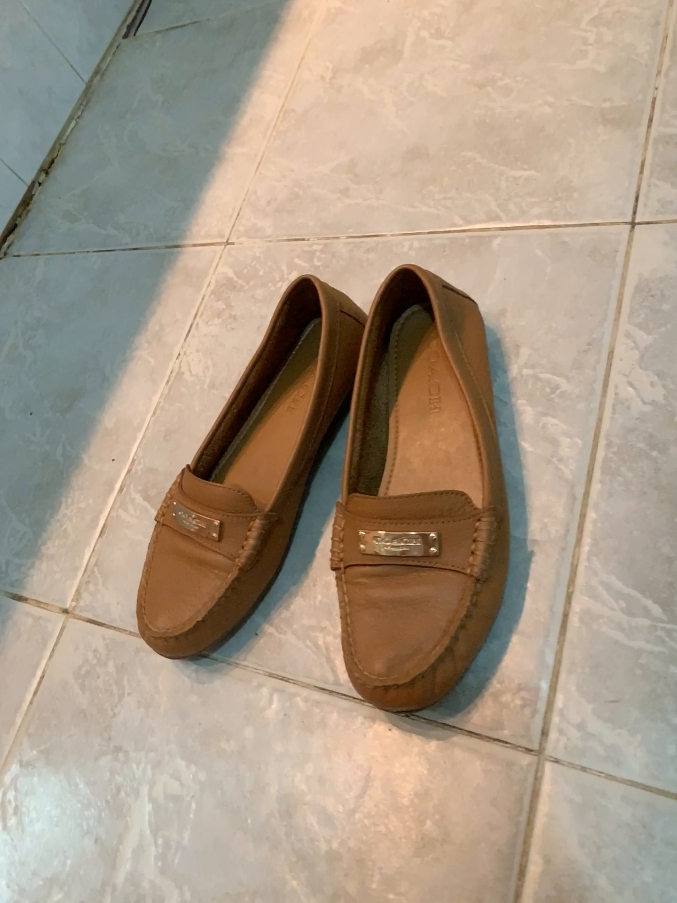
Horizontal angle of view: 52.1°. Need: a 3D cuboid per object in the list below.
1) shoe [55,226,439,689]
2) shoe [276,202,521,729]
[{"bbox_3d":[-0.043,-0.003,0.393,0.083,0.071,0.243,21,76,33],"label":"shoe"},{"bbox_3d":[0.041,0.001,0.346,0.085,0.071,0.243,-5,63,24],"label":"shoe"}]
